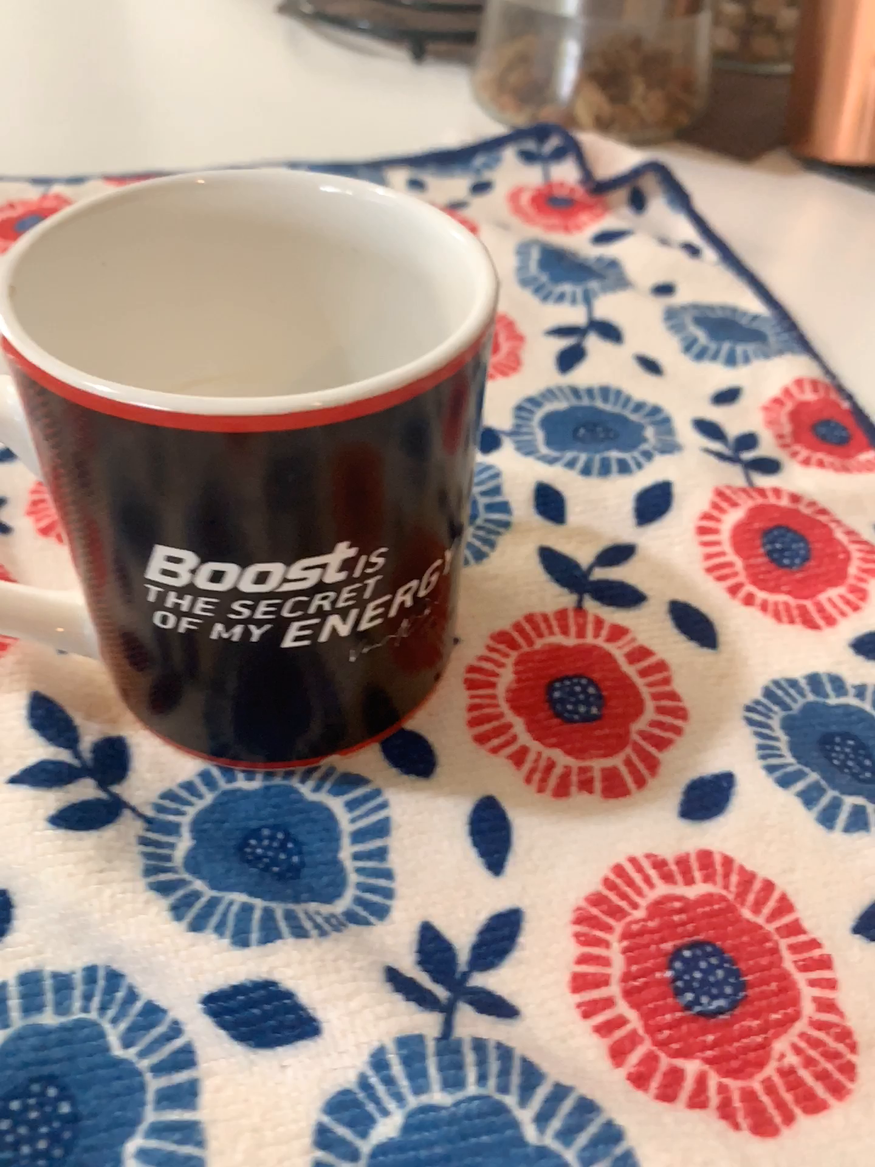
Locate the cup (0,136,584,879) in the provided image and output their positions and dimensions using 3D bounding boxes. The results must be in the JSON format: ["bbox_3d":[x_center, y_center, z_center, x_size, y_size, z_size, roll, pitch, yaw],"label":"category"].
[{"bbox_3d":[-0.047,-0.018,0.169,0.110,0.089,0.081,-10,46,-15],"label":"cup"}]
